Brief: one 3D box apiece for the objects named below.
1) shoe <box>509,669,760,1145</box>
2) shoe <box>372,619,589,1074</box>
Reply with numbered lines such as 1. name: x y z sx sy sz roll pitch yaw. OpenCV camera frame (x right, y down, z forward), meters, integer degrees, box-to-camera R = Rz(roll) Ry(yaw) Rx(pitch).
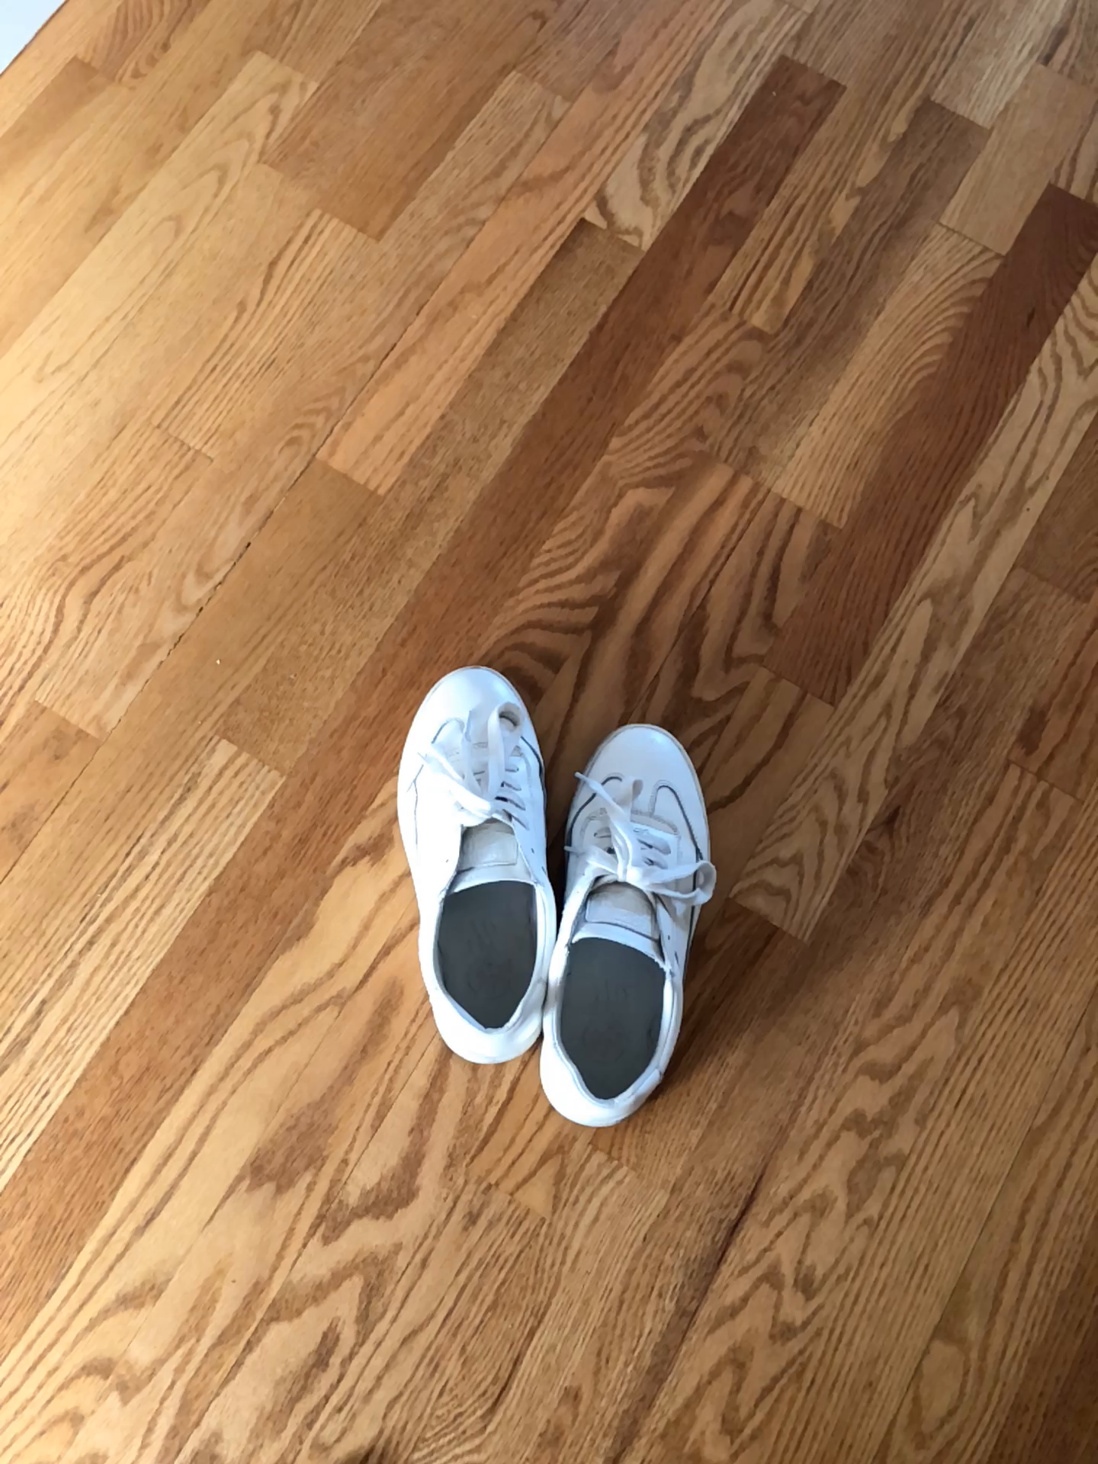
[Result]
1. shoe: 0.051 0.108 0.749 0.102 0.107 0.260 11 75 1
2. shoe: -0.045 0.074 0.757 0.102 0.104 0.260 -6 75 -4
